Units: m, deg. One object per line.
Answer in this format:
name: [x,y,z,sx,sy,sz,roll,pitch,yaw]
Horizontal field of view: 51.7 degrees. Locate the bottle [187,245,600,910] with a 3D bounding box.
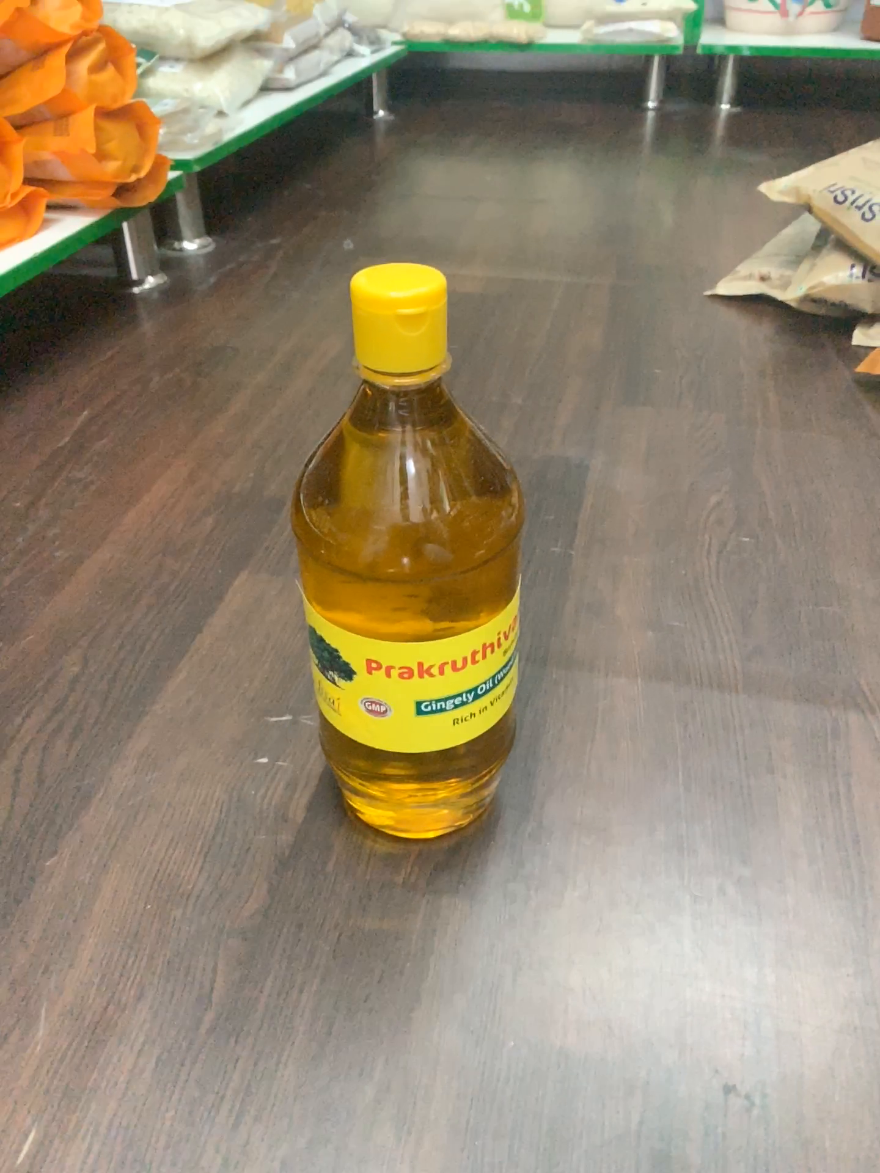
bottle: [-0.011,0.002,0.343,0.090,0.219,0.090,-1,37,1]
